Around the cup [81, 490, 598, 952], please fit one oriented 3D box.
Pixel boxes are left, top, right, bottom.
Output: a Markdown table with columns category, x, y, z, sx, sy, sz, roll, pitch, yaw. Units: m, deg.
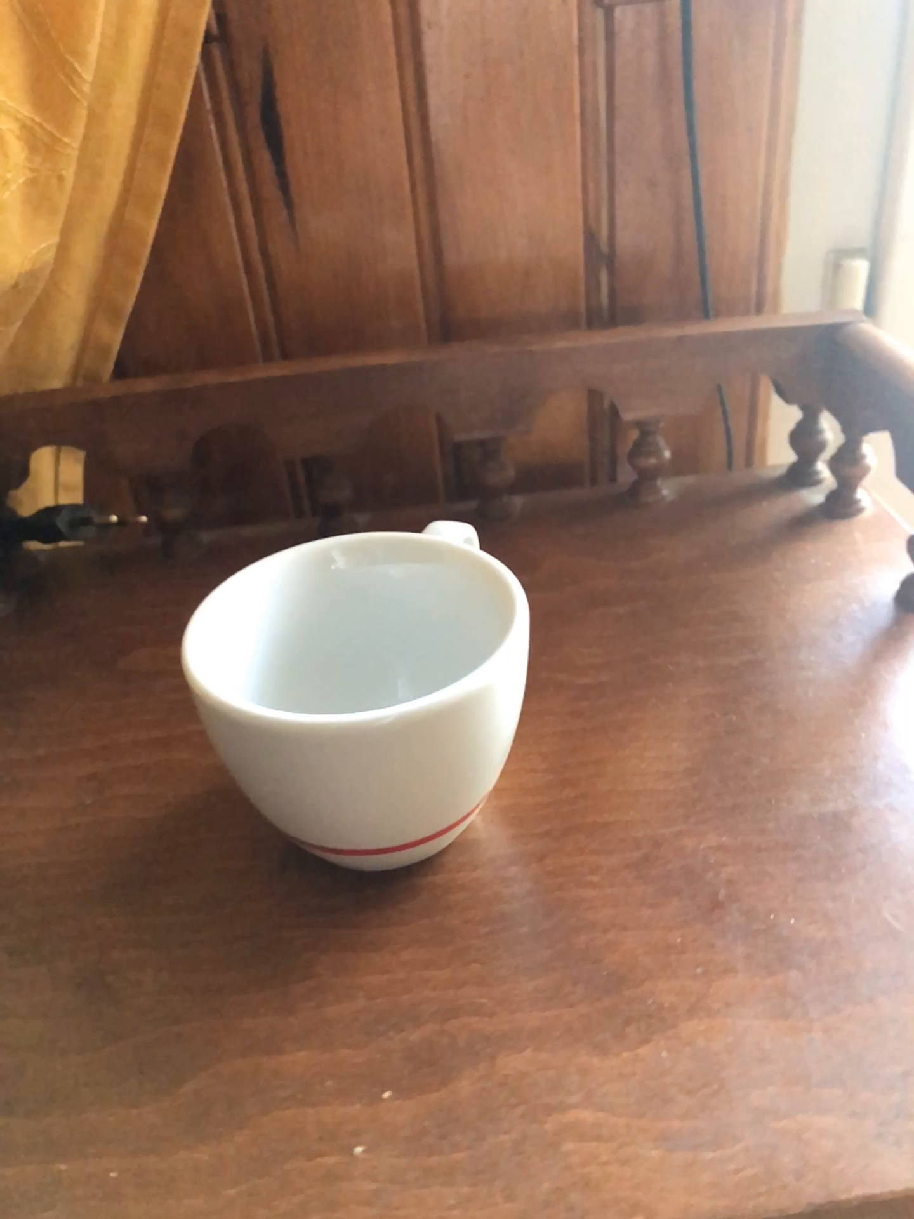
| category | x | y | z | sx | sy | sz | roll | pitch | yaw |
| --- | --- | --- | --- | --- | --- | --- | --- | --- | --- |
| cup | -0.020 | 0.019 | 0.266 | 0.090 | 0.050 | 0.111 | 7 | 35 | 19 |
